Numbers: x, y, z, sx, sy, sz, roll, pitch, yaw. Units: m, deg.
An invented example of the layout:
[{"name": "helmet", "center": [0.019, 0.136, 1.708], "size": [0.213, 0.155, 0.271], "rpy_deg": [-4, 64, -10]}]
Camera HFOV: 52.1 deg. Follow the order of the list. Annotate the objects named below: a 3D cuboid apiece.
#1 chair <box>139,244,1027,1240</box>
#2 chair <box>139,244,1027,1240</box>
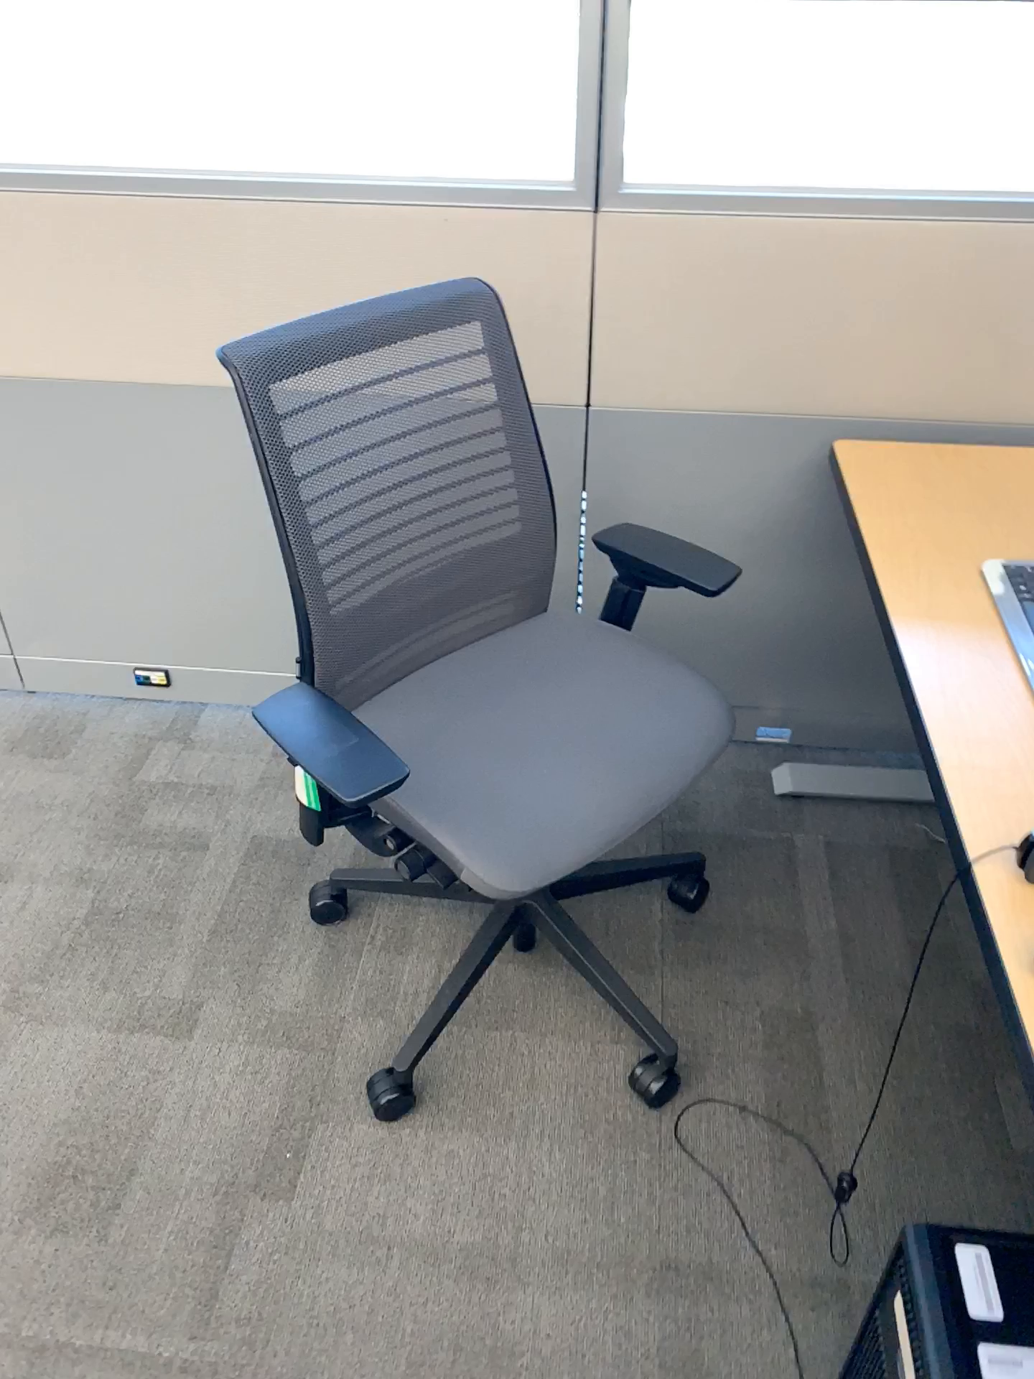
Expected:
[{"name": "chair", "center": [0.080, 0.024, 1.648], "size": [0.772, 1.083, 0.803], "rpy_deg": [-31, 46, -34]}, {"name": "chair", "center": [0.080, 0.024, 1.648], "size": [0.772, 1.083, 0.803], "rpy_deg": [-31, 46, -34]}]
